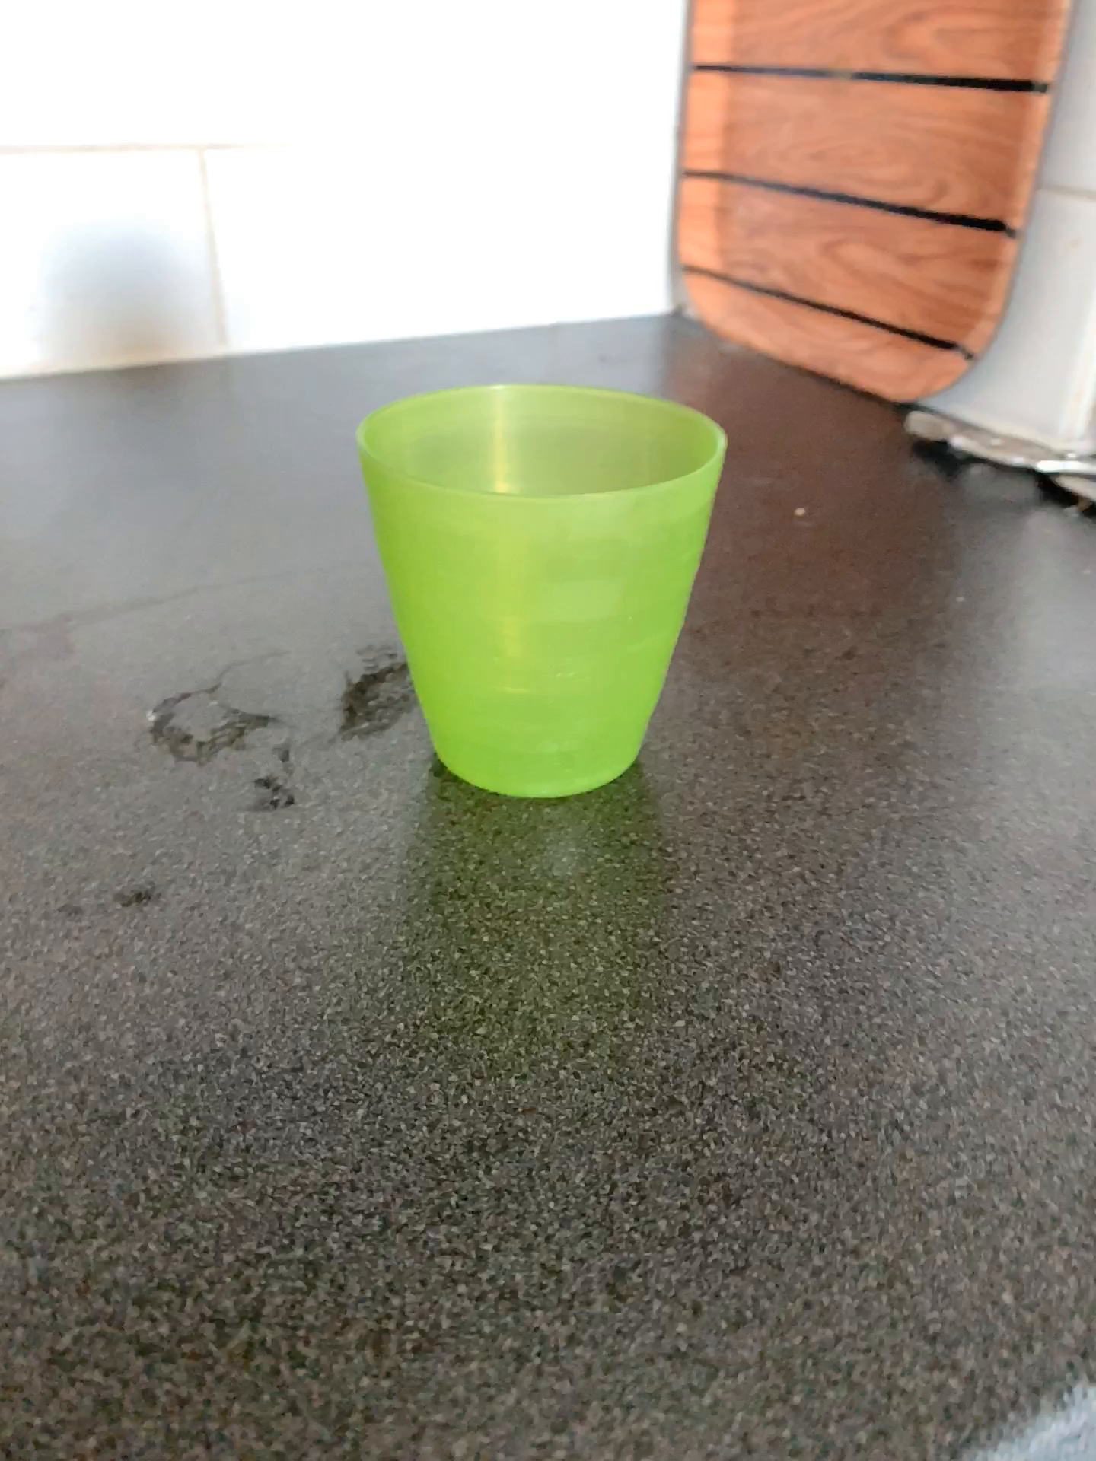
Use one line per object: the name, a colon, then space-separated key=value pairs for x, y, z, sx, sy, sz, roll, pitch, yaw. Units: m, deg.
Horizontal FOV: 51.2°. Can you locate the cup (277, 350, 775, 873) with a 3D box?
cup: x=-0.003 y=-0.035 z=0.275 sx=0.078 sy=0.080 sz=0.090 roll=18 pitch=35 yaw=21
